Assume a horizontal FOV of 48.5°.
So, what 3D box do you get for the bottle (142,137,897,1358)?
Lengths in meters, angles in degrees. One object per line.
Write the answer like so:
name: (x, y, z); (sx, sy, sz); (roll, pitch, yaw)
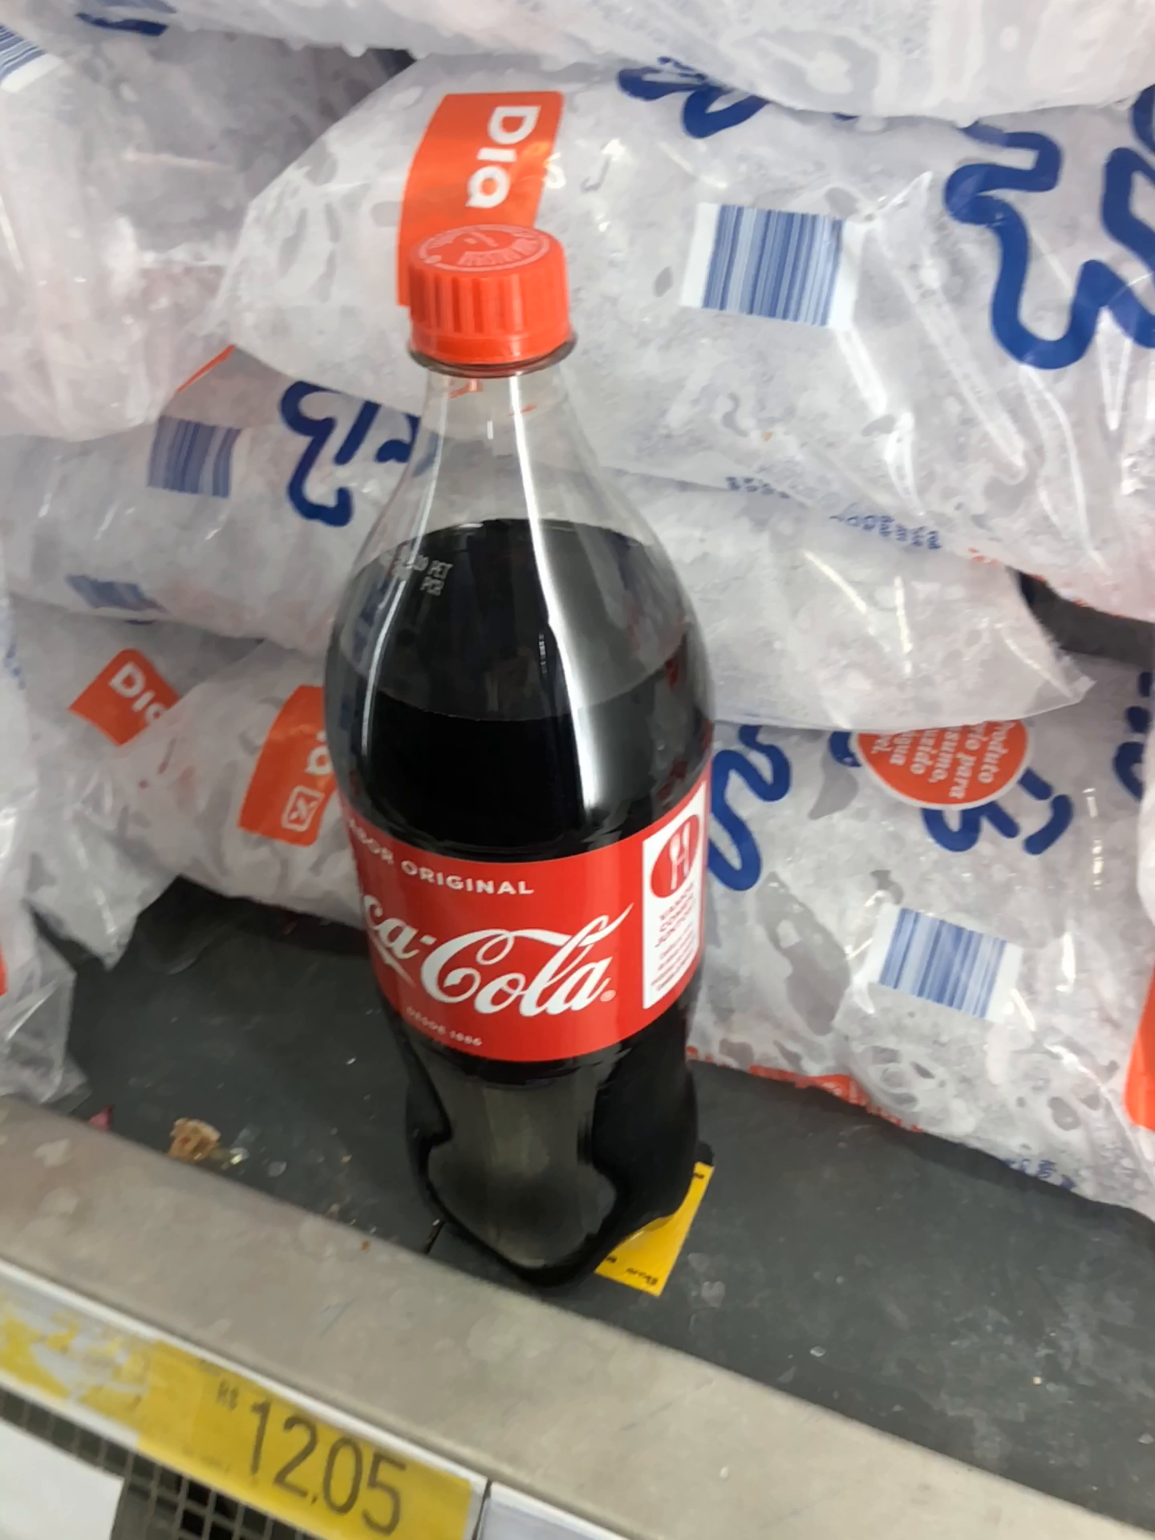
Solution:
bottle: (-0.006, 0.018, 0.312); (0.100, 0.288, 0.080); (22, 46, 24)
